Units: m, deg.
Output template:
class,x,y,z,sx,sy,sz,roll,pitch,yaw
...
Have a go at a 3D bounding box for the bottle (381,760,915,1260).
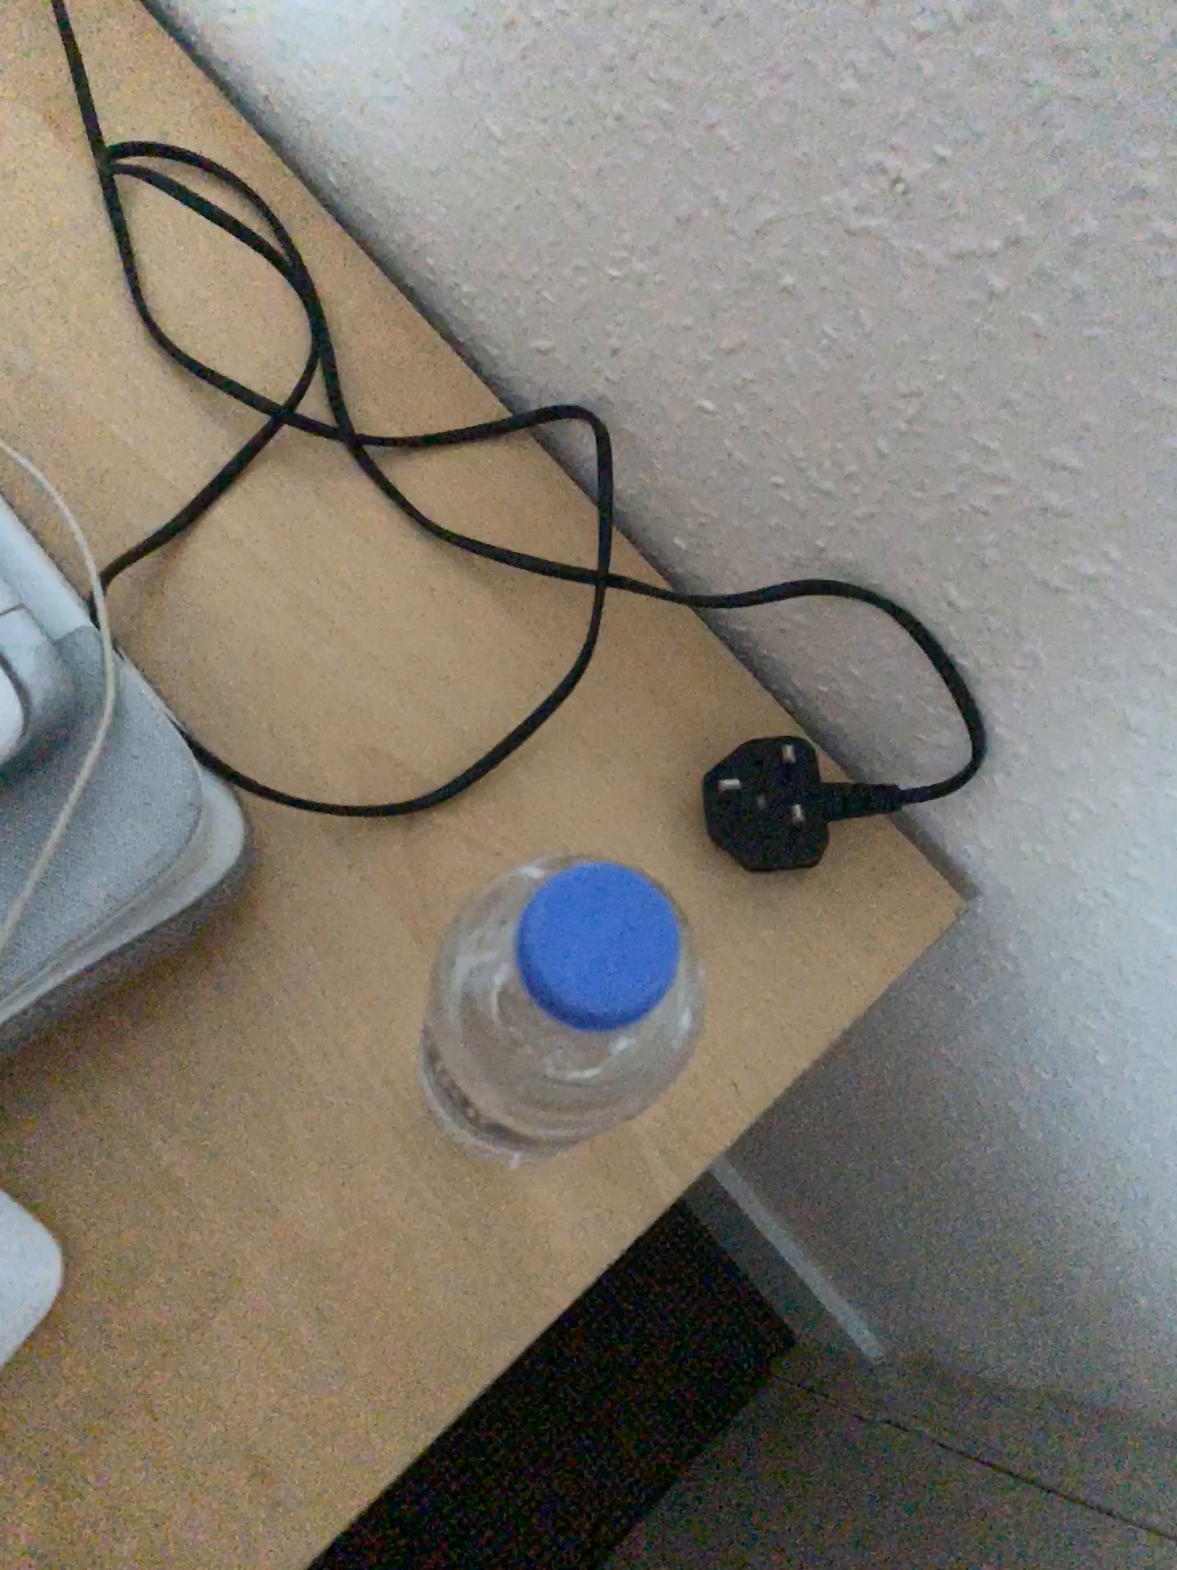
class,x,y,z,sx,sy,sz,roll,pitch,yaw
bottle,-0.004,0.068,0.305,0.070,0.189,0.070,4,70,-11
